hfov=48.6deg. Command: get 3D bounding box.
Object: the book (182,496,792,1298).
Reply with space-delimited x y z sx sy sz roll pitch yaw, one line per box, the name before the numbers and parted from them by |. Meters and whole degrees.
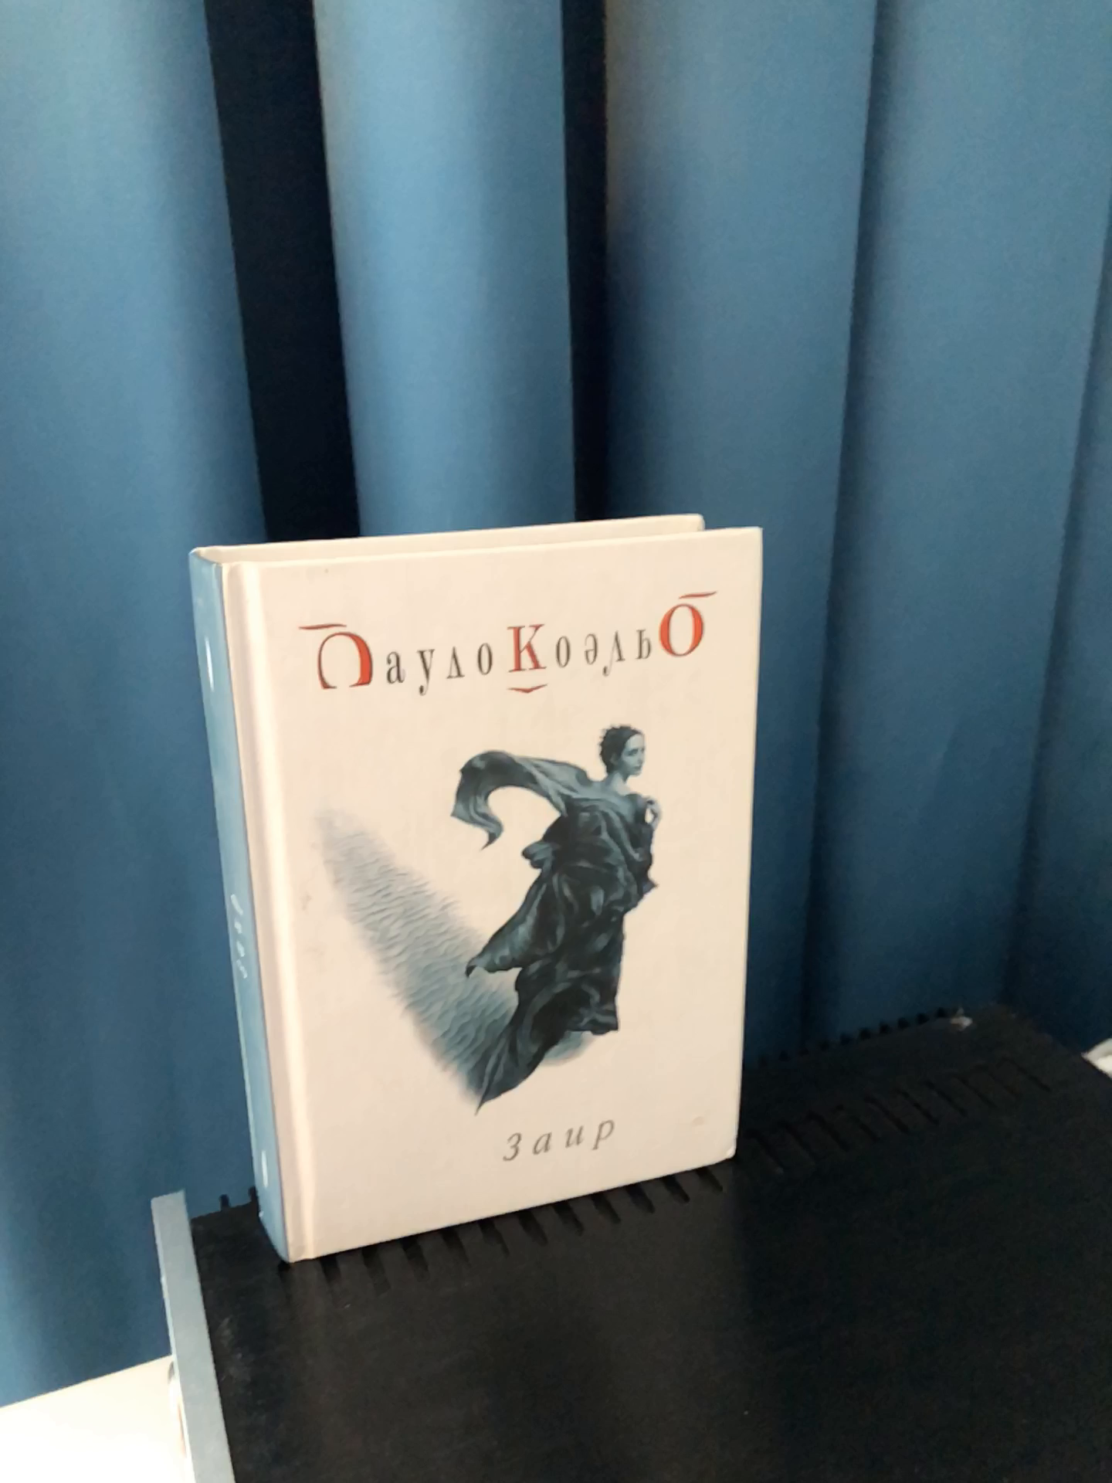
book | -0.012 0.037 0.300 0.130 0.179 0.030 -7 20 -16
